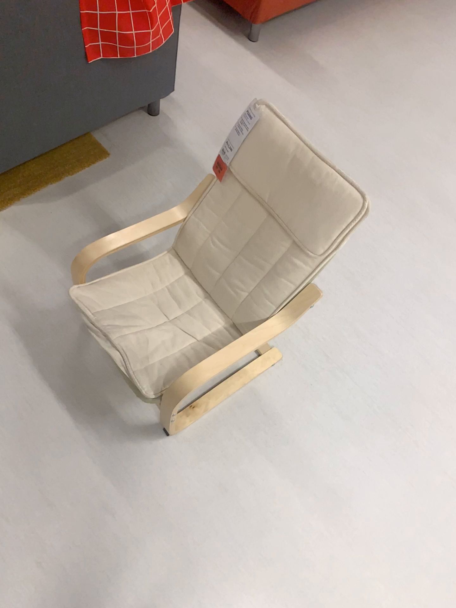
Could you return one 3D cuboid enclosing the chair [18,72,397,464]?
[{"bbox_3d":[-0.088,-0.031,1.227,0.541,0.798,0.490,-32,71,-25],"label":"chair"}]
